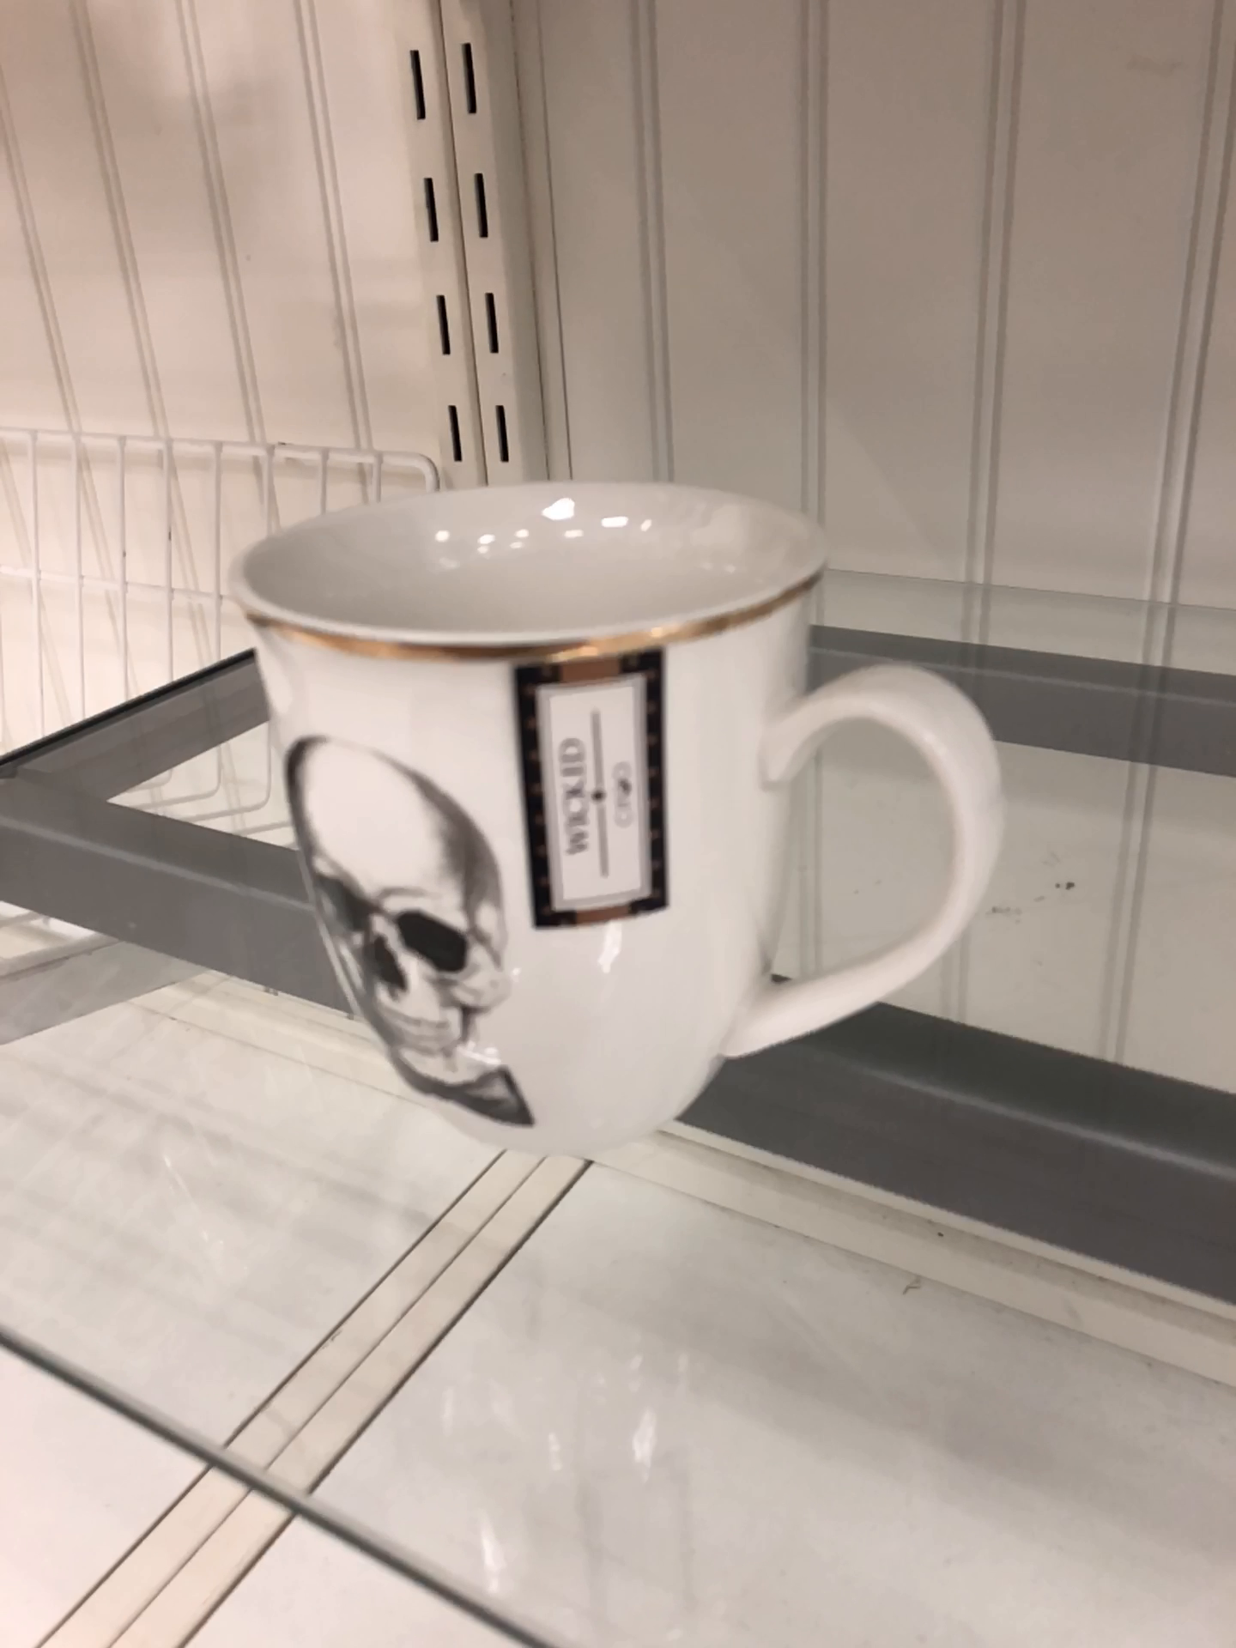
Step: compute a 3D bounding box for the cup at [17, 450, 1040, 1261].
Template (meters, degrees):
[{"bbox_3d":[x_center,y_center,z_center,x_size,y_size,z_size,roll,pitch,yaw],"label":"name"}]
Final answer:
[{"bbox_3d":[-0.004,-0.007,0.226,0.131,0.088,0.095,6,27,19],"label":"cup"}]
